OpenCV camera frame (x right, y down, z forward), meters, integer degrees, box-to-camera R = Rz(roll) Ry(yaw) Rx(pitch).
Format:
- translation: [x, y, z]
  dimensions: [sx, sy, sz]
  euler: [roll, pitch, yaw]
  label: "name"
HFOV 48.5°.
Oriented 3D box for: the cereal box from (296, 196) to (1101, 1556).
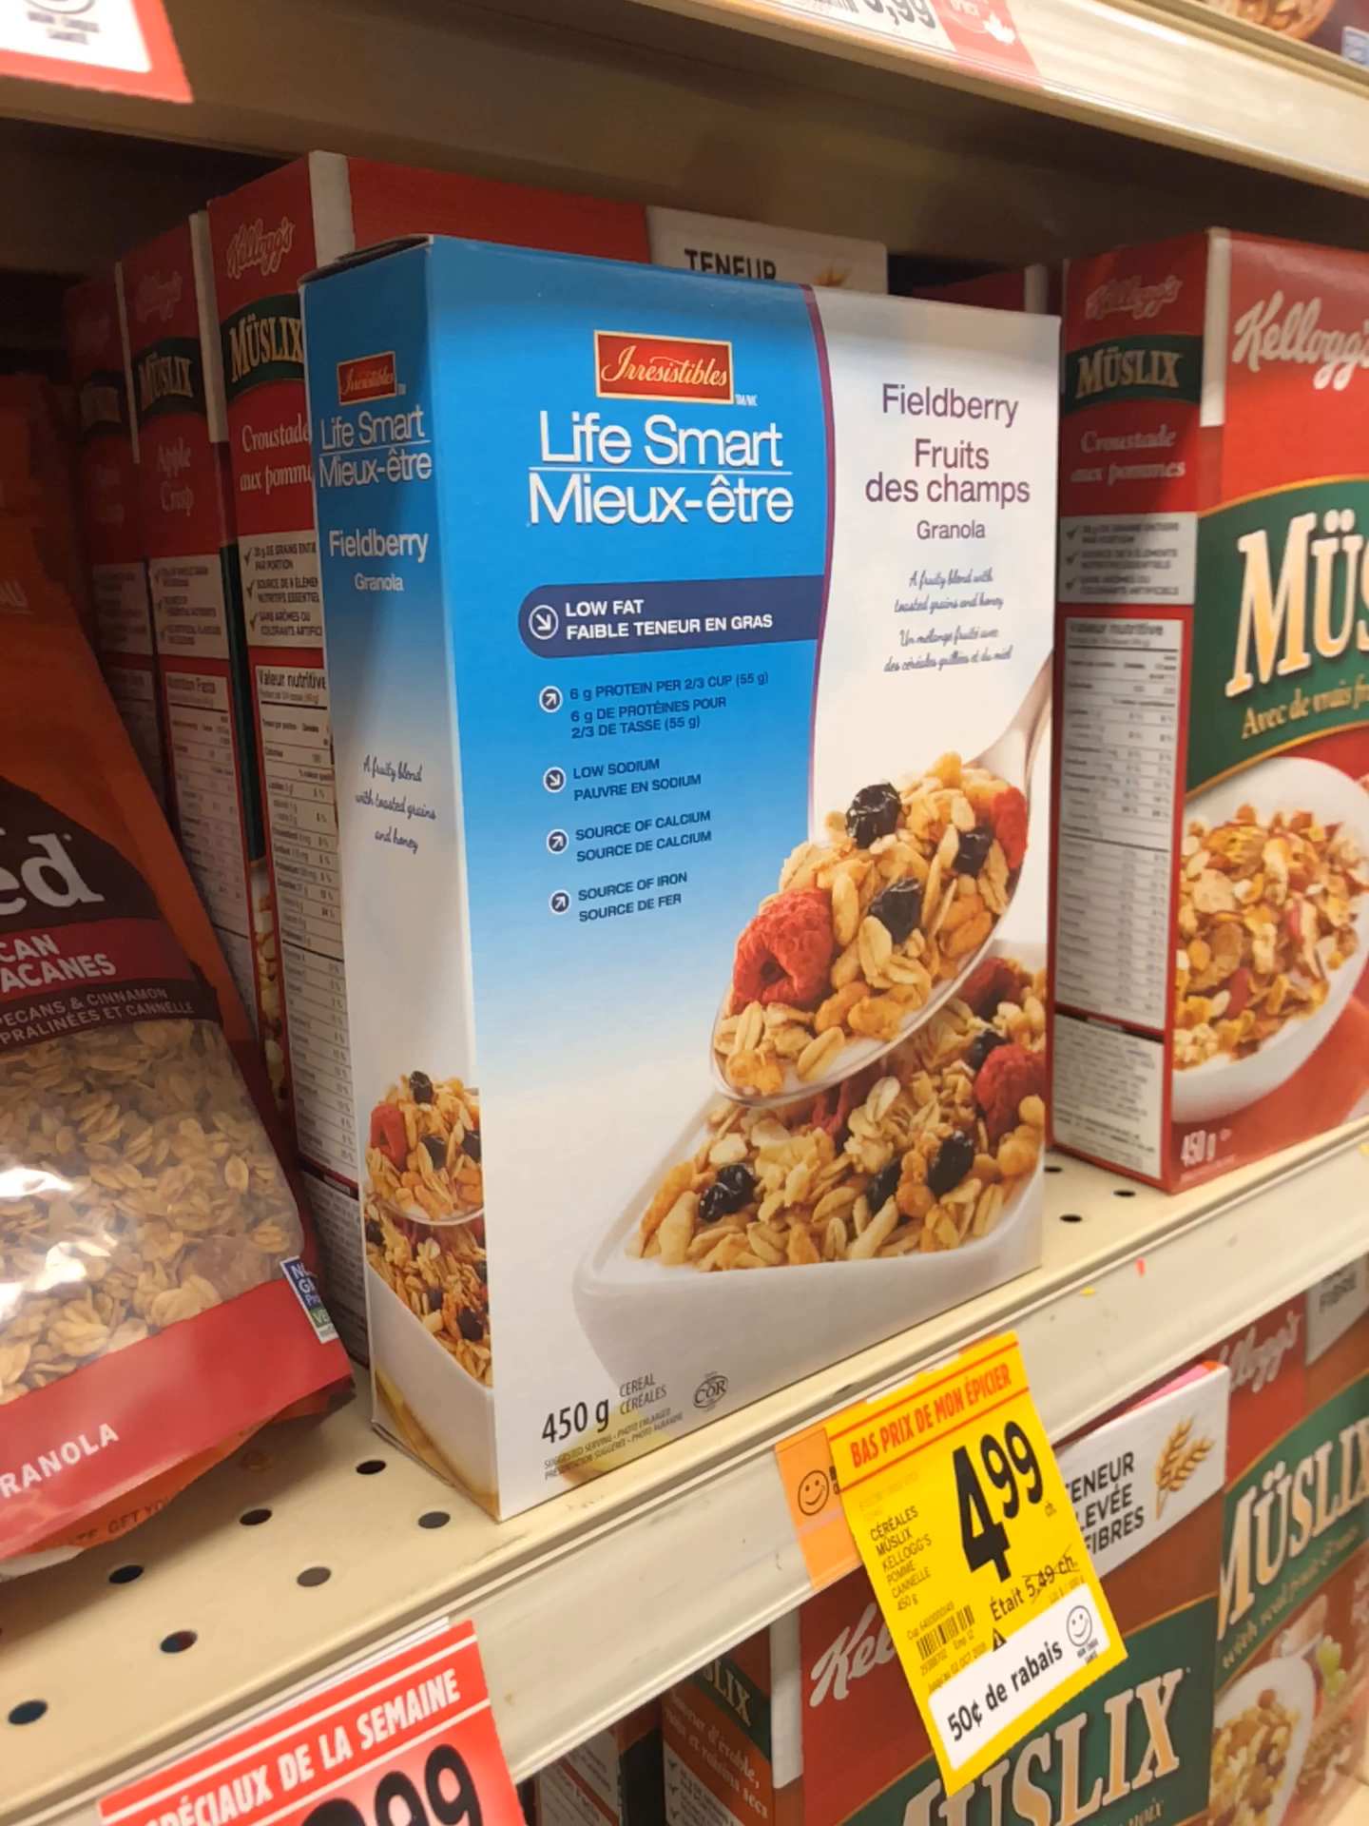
- translation: [0.014, -0.013, 0.333]
  dimensions: [0.170, 0.239, 0.050]
  euler: [-11, 15, -37]
  label: "cereal box"
